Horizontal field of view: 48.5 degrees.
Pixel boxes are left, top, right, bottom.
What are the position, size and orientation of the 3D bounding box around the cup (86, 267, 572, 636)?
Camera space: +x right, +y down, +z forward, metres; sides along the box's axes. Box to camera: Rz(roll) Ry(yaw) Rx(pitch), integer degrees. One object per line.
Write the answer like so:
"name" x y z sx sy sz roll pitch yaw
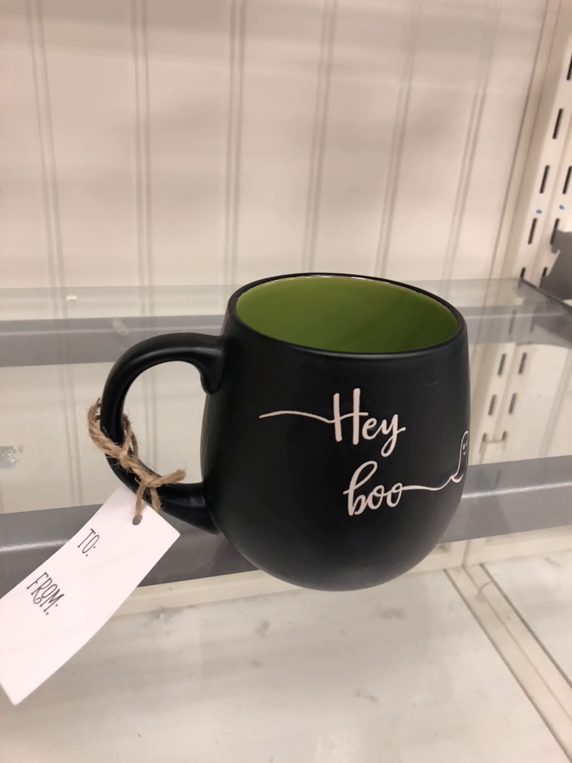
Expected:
"cup" 0.008 0.014 0.235 0.149 0.089 0.091 -3 26 -15
